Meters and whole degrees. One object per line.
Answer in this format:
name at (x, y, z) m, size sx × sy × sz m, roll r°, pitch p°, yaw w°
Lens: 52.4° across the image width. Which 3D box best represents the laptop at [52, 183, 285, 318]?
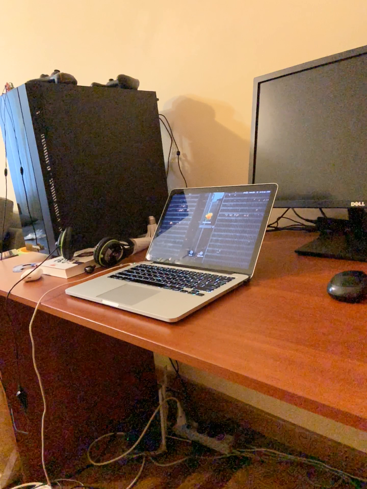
laptop at (-0.019, -0.017, 0.761) m, size 0.300 × 0.155 × 0.341 m, roll 5°, pitch 17°, yaw 42°
